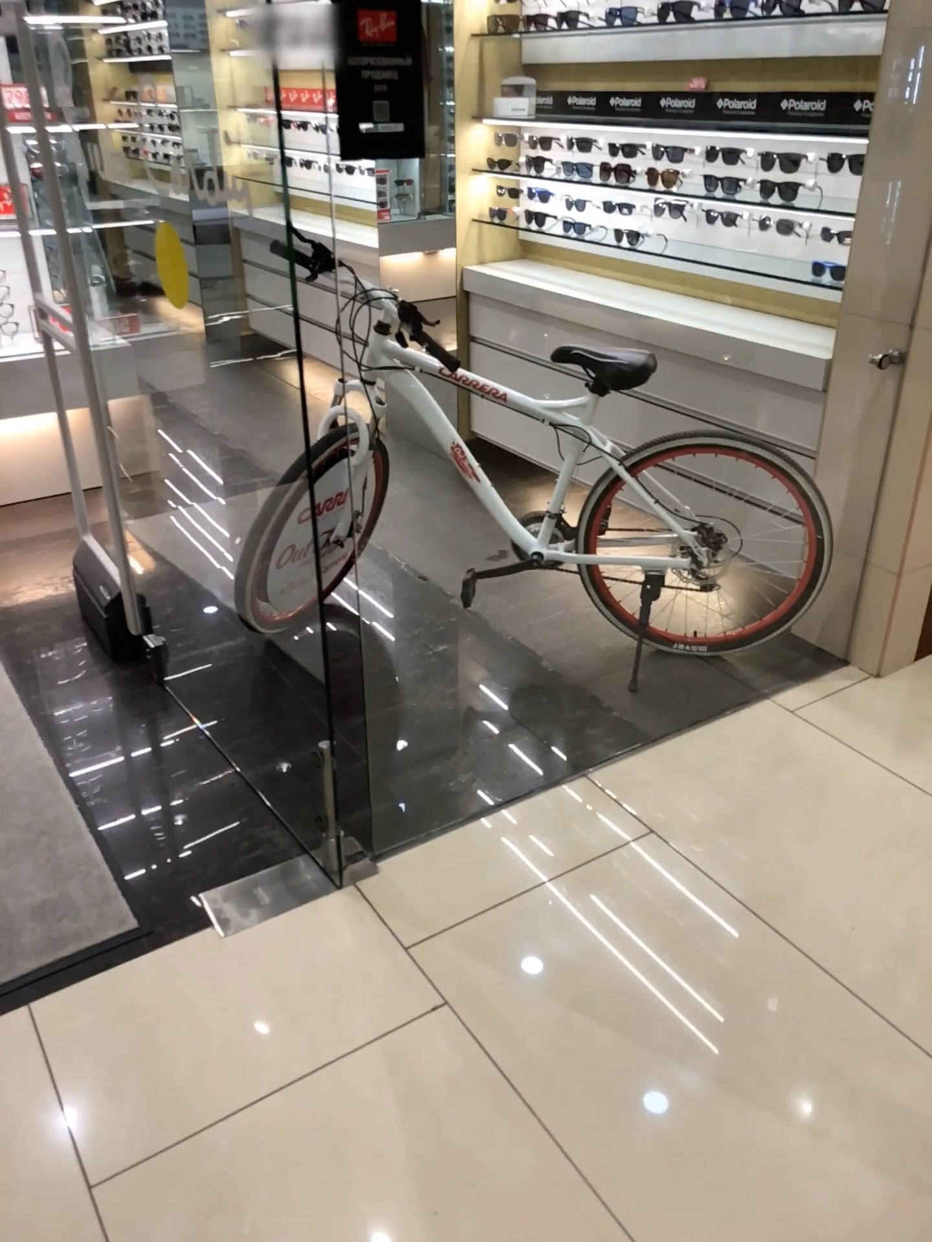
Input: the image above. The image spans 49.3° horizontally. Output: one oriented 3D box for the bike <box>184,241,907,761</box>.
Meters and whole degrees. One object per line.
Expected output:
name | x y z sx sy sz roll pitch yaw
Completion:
bike | 0.160 -0.294 2.411 1.381 0.948 0.595 -4 27 1
